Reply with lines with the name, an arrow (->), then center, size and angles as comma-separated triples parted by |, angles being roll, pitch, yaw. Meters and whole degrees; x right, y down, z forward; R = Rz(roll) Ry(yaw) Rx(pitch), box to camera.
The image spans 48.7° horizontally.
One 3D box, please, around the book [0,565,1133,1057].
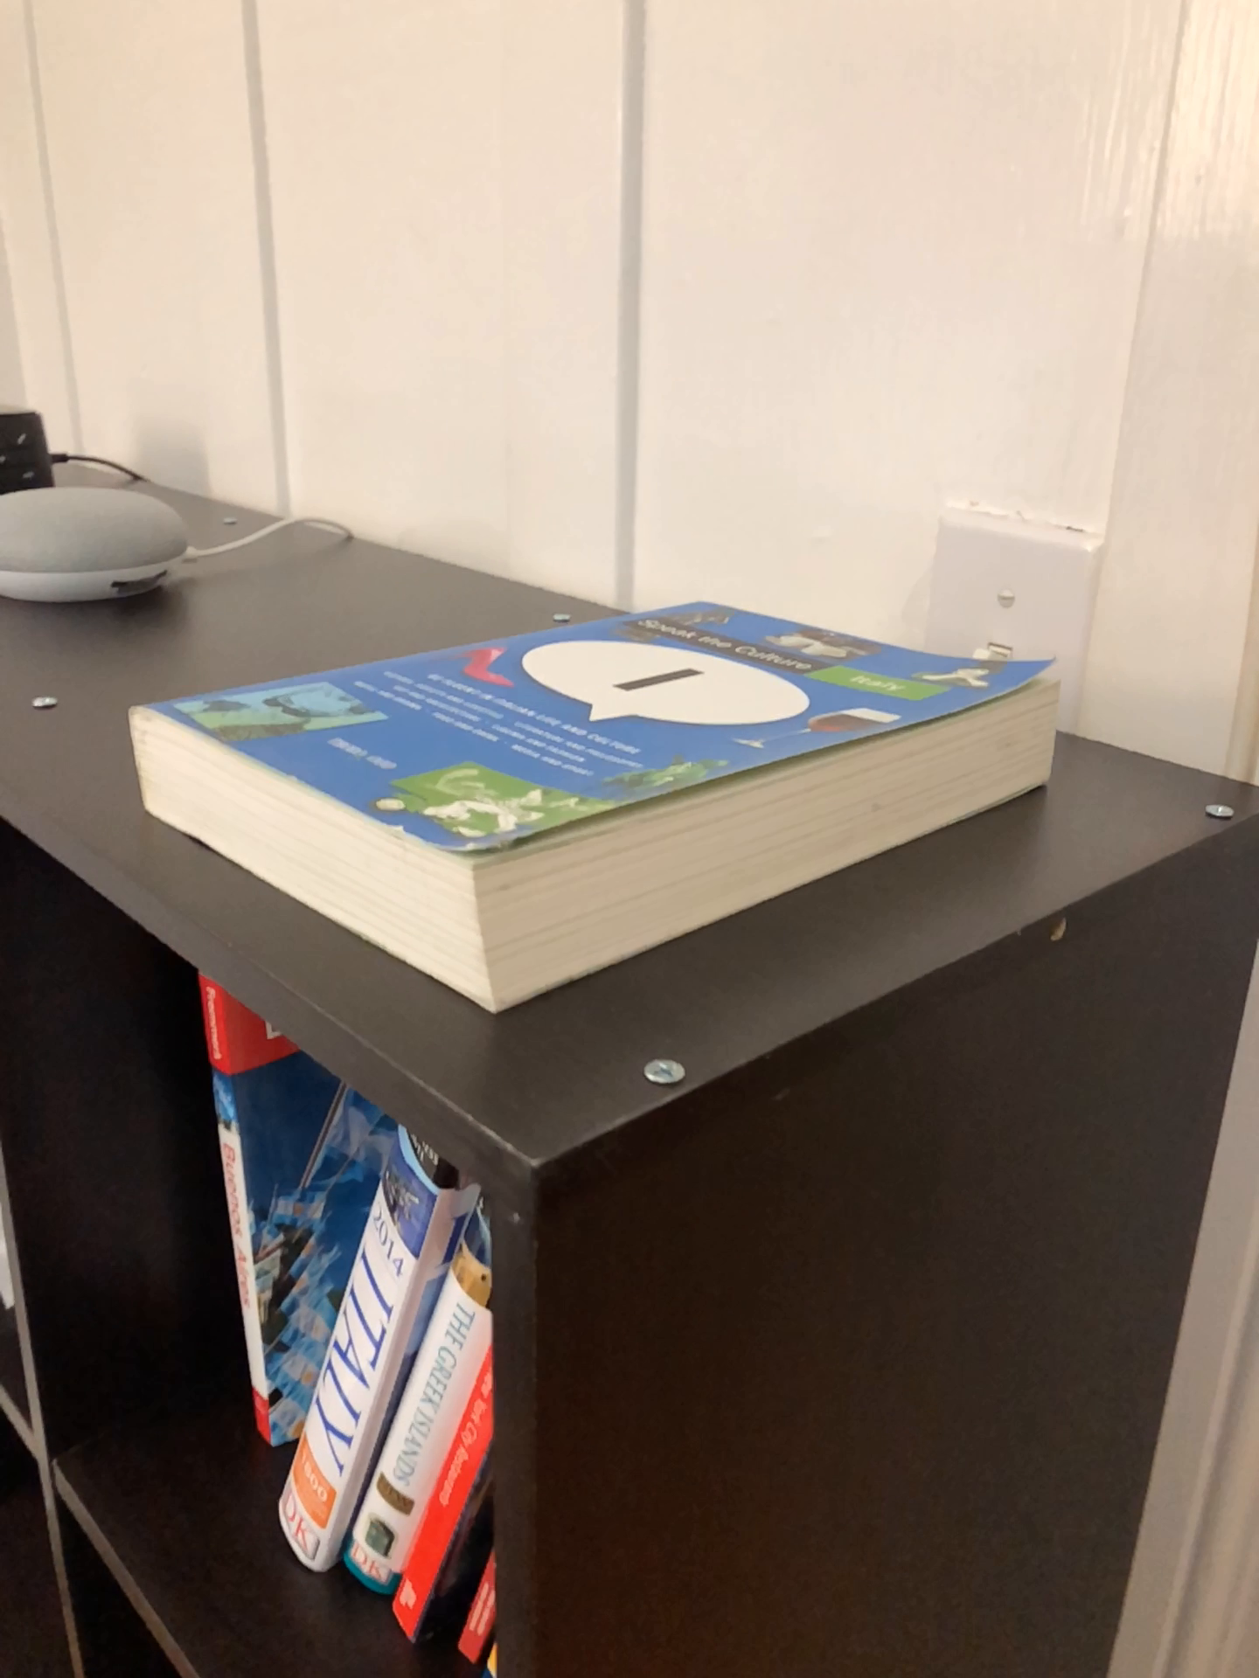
book -> -0.013, -0.034, 0.402 | 0.261, 0.030, 0.200 | -19, 30, -41
